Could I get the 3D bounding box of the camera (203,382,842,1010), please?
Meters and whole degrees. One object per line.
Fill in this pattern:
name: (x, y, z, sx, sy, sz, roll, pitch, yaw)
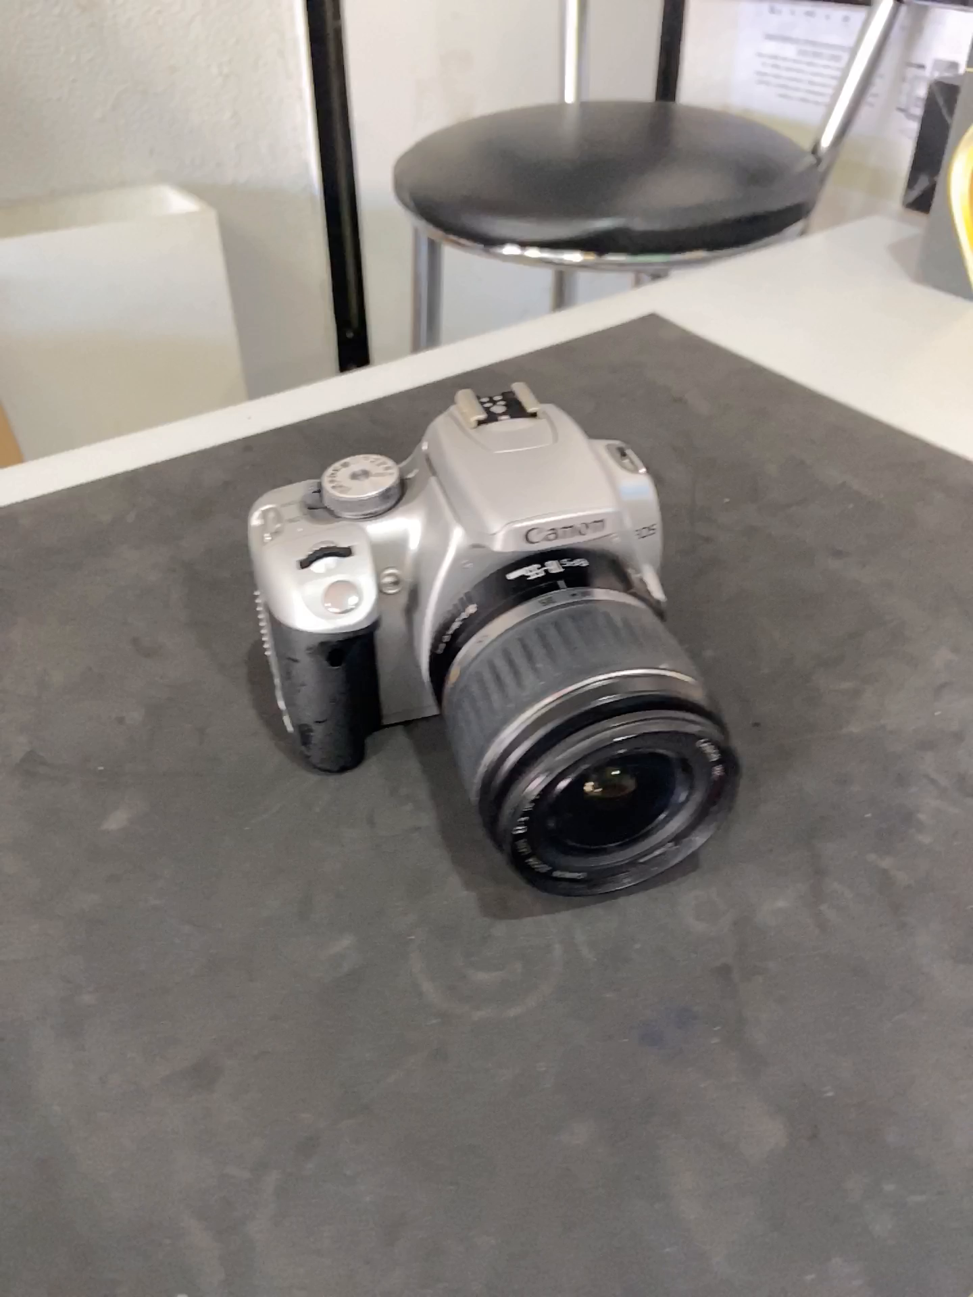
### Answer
camera: (-0.001, 0.000, 0.283, 0.120, 0.079, 0.141, -14, 40, -15)
